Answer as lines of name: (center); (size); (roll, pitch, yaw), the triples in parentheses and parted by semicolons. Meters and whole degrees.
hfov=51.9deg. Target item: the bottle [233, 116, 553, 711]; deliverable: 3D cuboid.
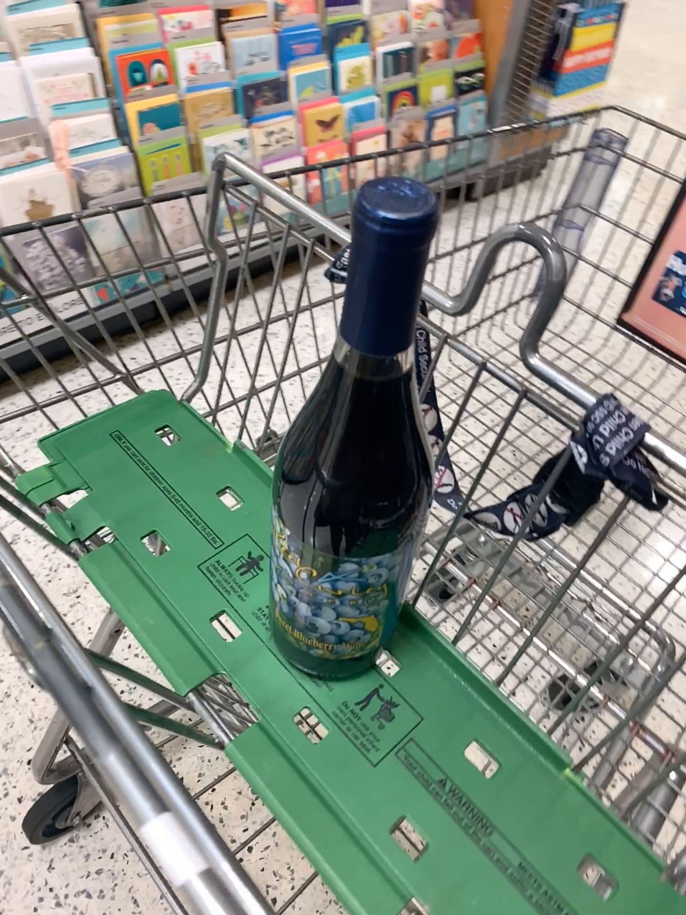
bottle: (0.005, 0.009, 0.331); (0.080, 0.286, 0.075); (4, 47, -4)
